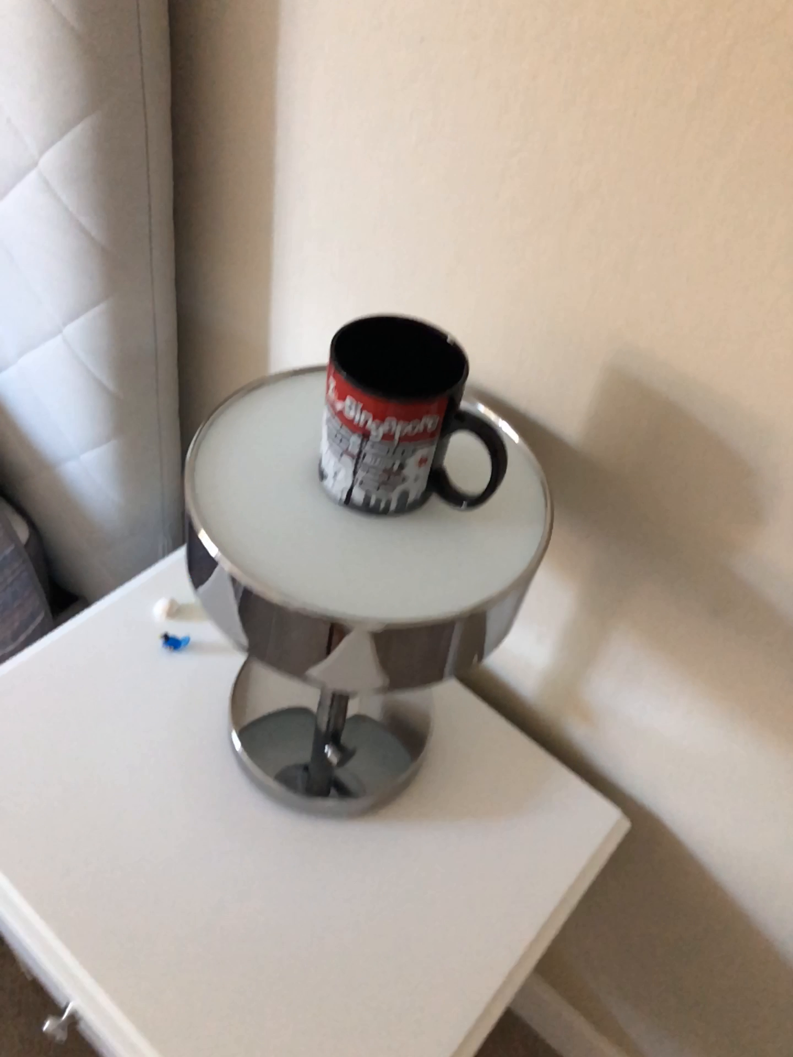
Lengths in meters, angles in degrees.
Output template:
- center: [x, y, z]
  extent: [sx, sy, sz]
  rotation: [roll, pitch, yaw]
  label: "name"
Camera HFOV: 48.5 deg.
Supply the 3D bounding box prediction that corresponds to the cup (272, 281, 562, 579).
- center: [0.009, -0.060, 0.519]
  extent: [0.130, 0.100, 0.090]
  rotation: [27, 48, 13]
  label: "cup"
